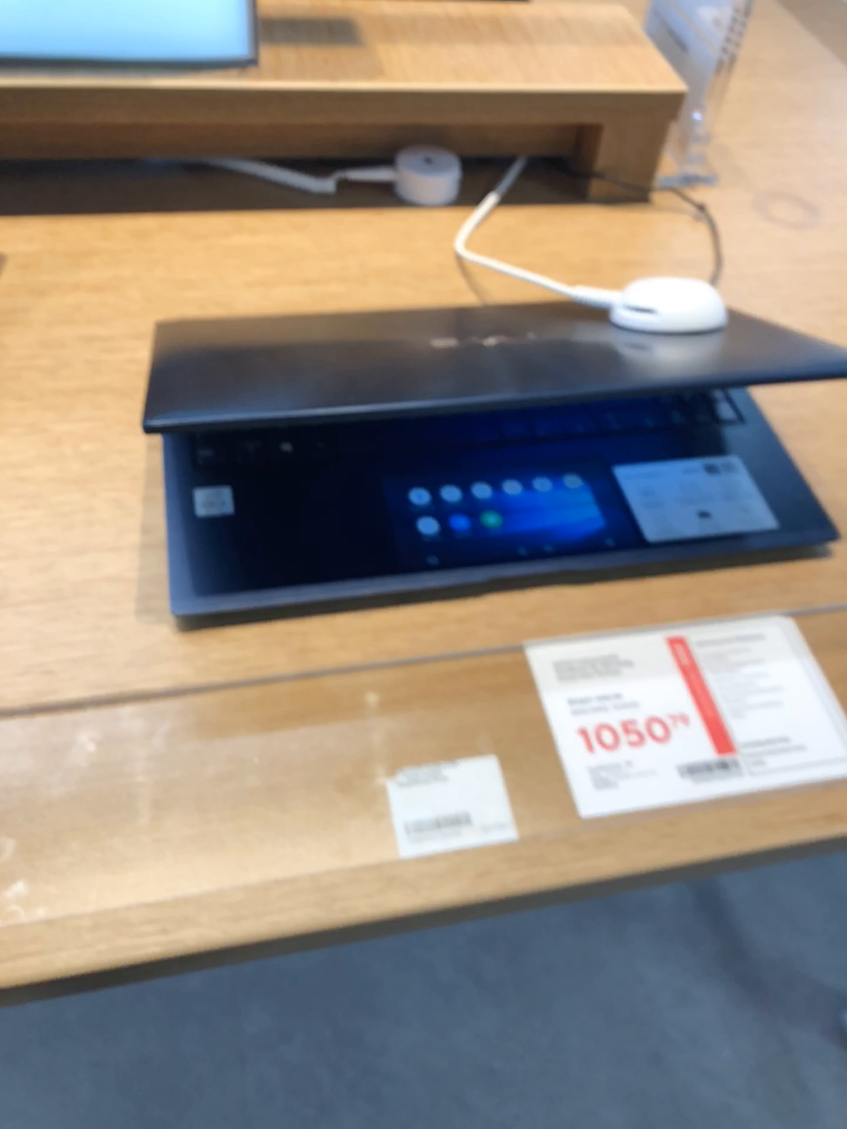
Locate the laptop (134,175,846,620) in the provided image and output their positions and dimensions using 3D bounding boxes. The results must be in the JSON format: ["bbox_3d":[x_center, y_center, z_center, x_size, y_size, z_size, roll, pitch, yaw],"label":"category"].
[{"bbox_3d":[0.037,-0.104,0.501,0.352,0.098,0.209,-6,50,-13],"label":"laptop"}]
